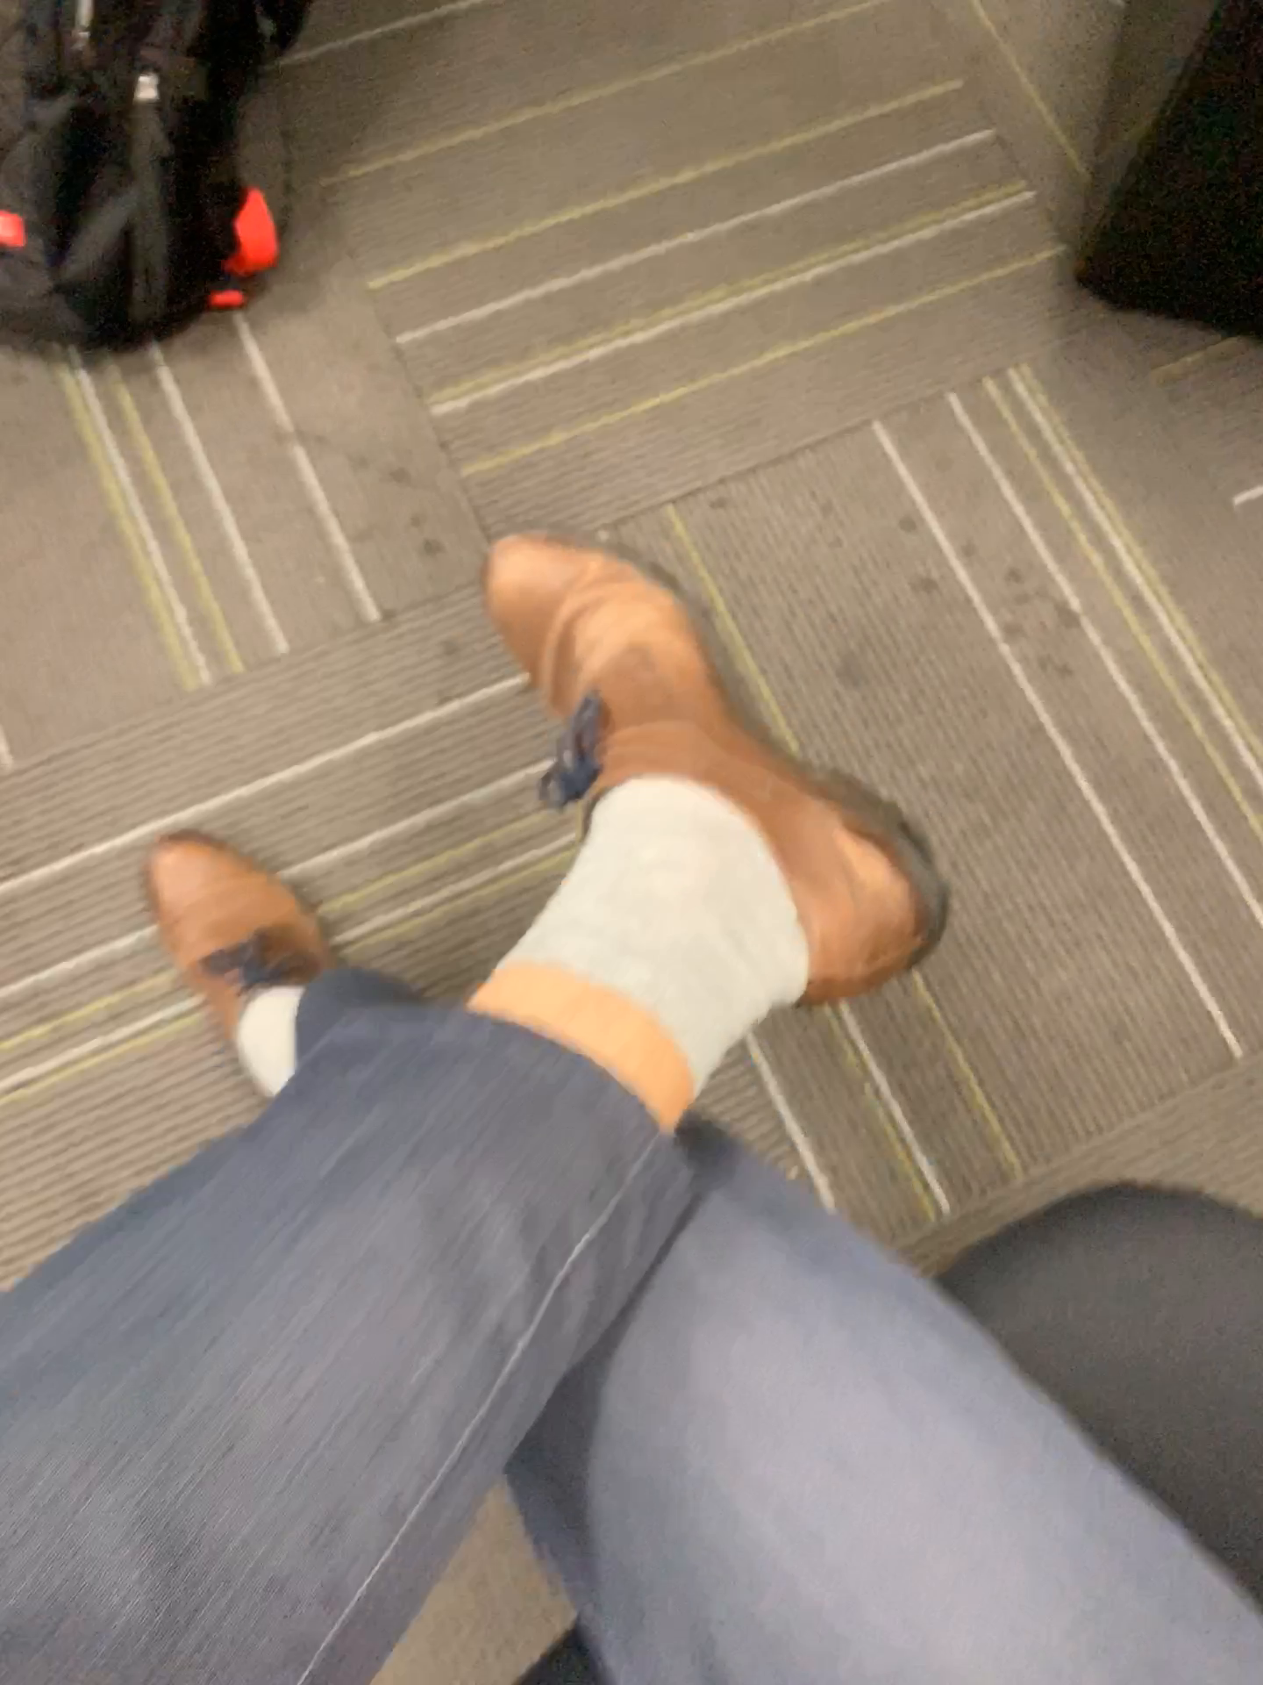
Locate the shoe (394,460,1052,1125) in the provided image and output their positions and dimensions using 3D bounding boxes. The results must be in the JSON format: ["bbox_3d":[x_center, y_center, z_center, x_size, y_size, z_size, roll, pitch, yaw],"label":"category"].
[{"bbox_3d":[0.029,-0.029,0.599,0.294,0.114,0.082,46,47,15],"label":"shoe"}]

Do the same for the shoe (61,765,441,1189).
[{"bbox_3d":[-0.262,0.093,0.918,0.112,0.068,0.276,-37,80,-12],"label":"shoe"}]
